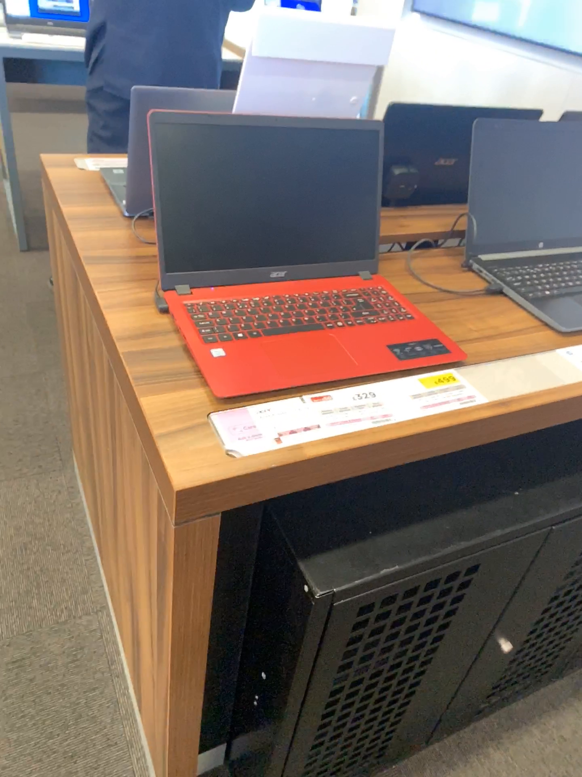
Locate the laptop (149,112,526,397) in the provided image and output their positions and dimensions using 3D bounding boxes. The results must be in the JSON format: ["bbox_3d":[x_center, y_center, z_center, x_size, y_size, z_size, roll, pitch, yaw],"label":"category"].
[{"bbox_3d":[0.030,-0.198,0.788,0.357,0.213,0.323,-9,40,-24],"label":"laptop"}]
